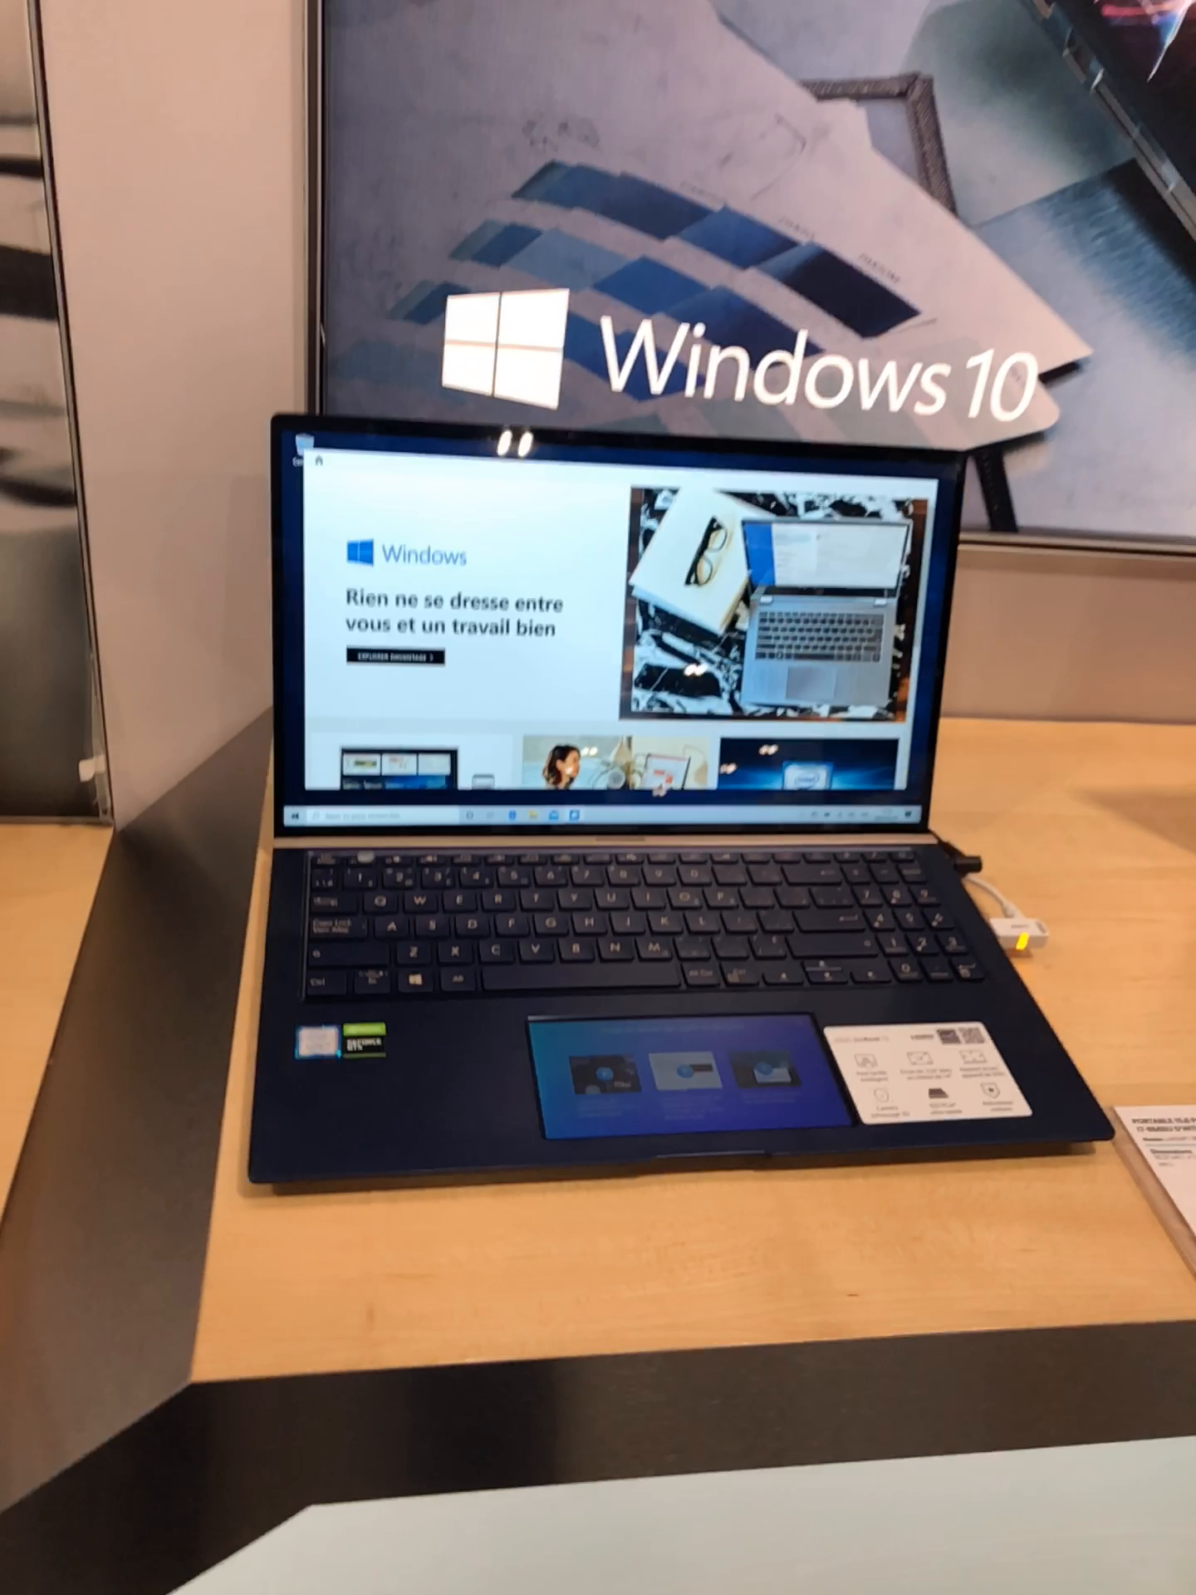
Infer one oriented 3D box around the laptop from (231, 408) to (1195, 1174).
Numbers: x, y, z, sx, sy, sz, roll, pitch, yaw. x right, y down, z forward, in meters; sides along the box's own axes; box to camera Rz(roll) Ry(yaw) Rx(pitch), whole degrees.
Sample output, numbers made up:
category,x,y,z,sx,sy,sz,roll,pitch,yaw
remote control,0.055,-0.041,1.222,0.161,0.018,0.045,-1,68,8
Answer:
category,x,y,z,sx,sy,sz,roll,pitch,yaw
laptop,0.029,-0.019,0.564,0.337,0.183,0.275,1,34,-12
